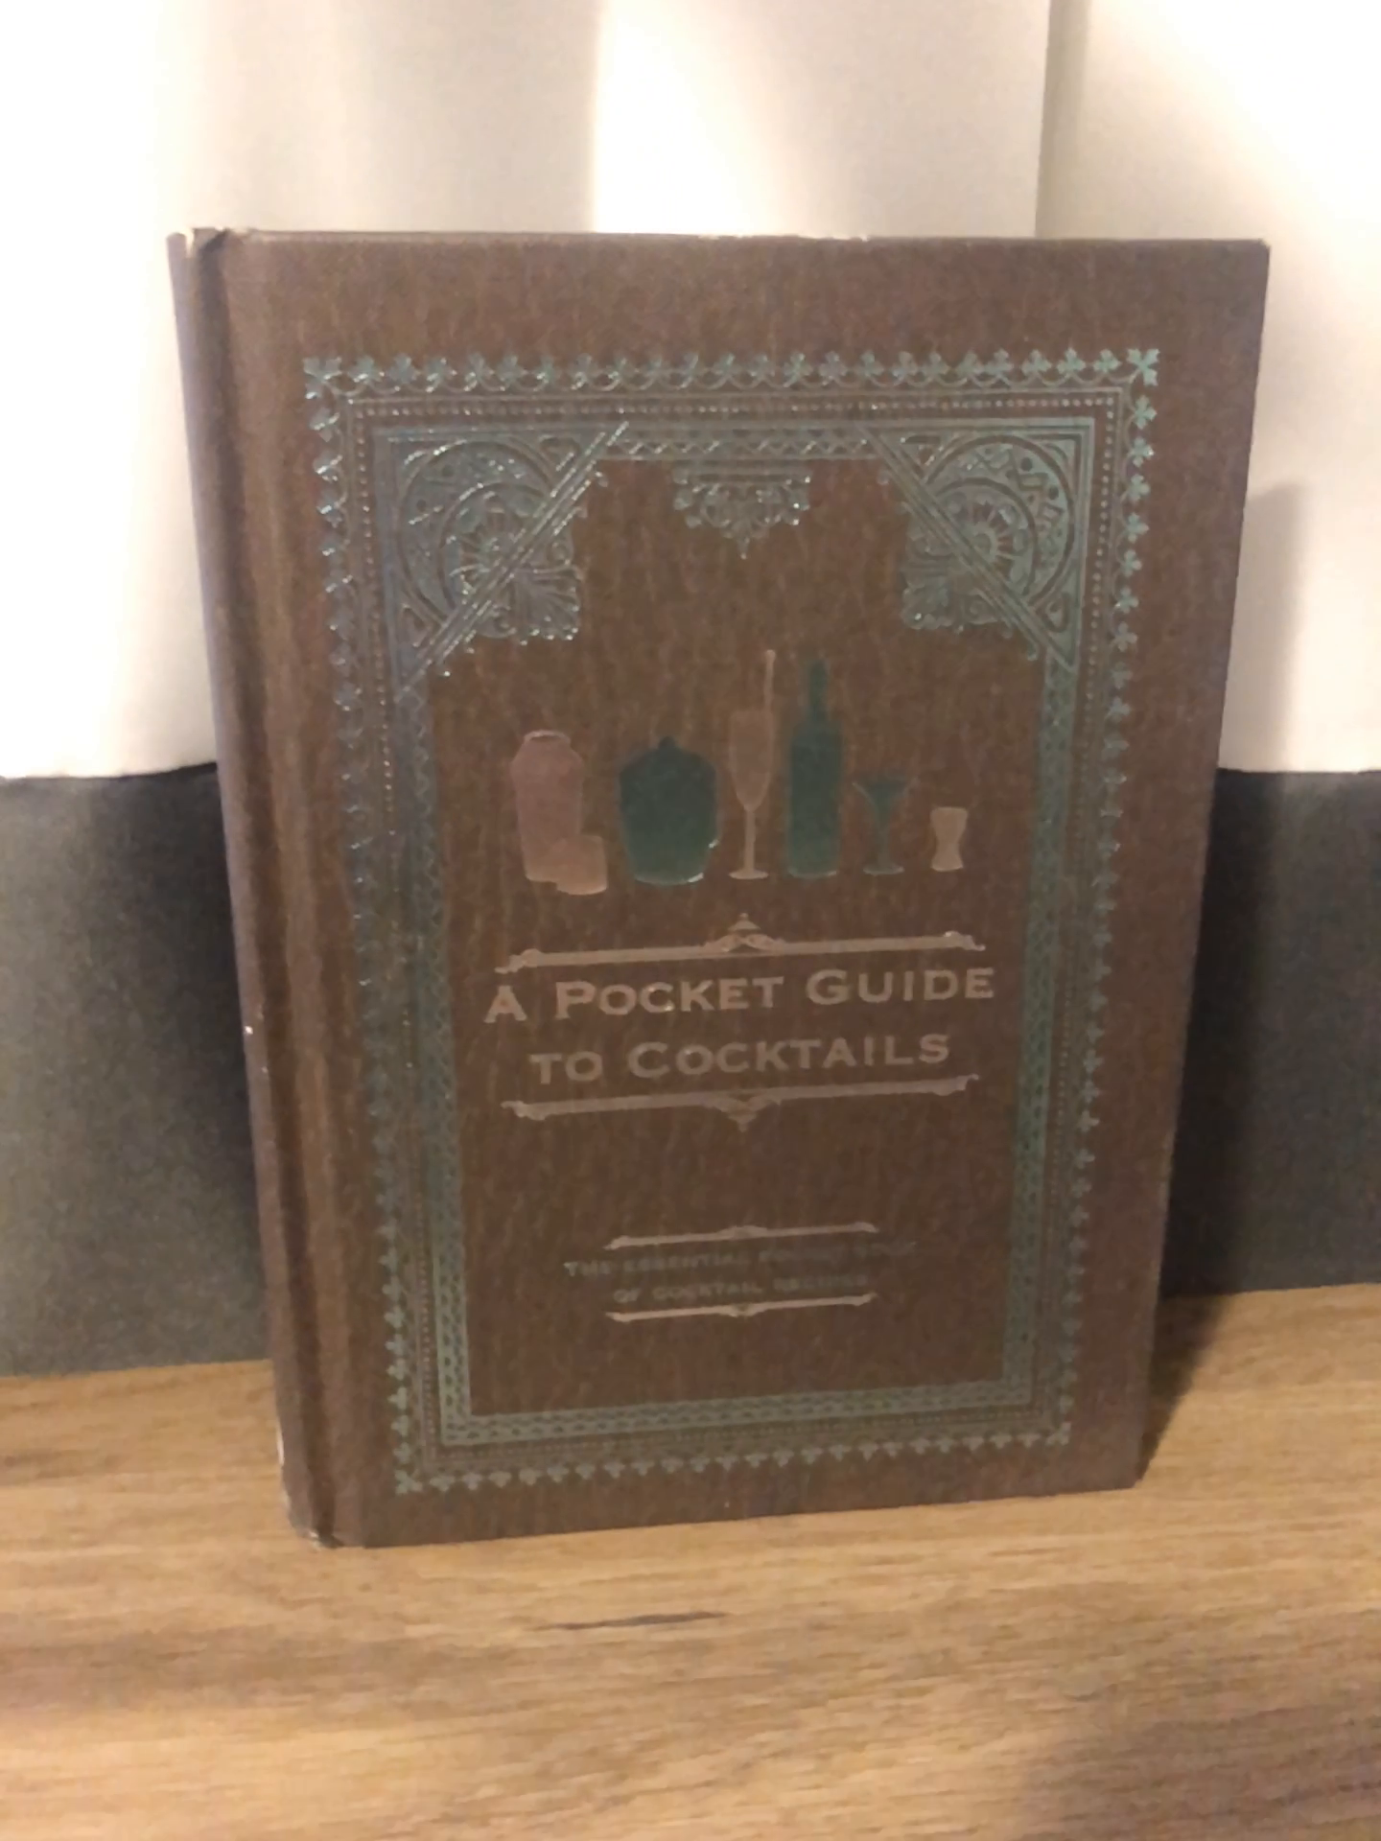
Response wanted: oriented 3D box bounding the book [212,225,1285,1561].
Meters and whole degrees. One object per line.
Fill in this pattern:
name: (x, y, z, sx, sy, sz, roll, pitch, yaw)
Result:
book: (0.009, 0.004, 0.238, 0.136, 0.200, 0.022, -2, 19, -6)
